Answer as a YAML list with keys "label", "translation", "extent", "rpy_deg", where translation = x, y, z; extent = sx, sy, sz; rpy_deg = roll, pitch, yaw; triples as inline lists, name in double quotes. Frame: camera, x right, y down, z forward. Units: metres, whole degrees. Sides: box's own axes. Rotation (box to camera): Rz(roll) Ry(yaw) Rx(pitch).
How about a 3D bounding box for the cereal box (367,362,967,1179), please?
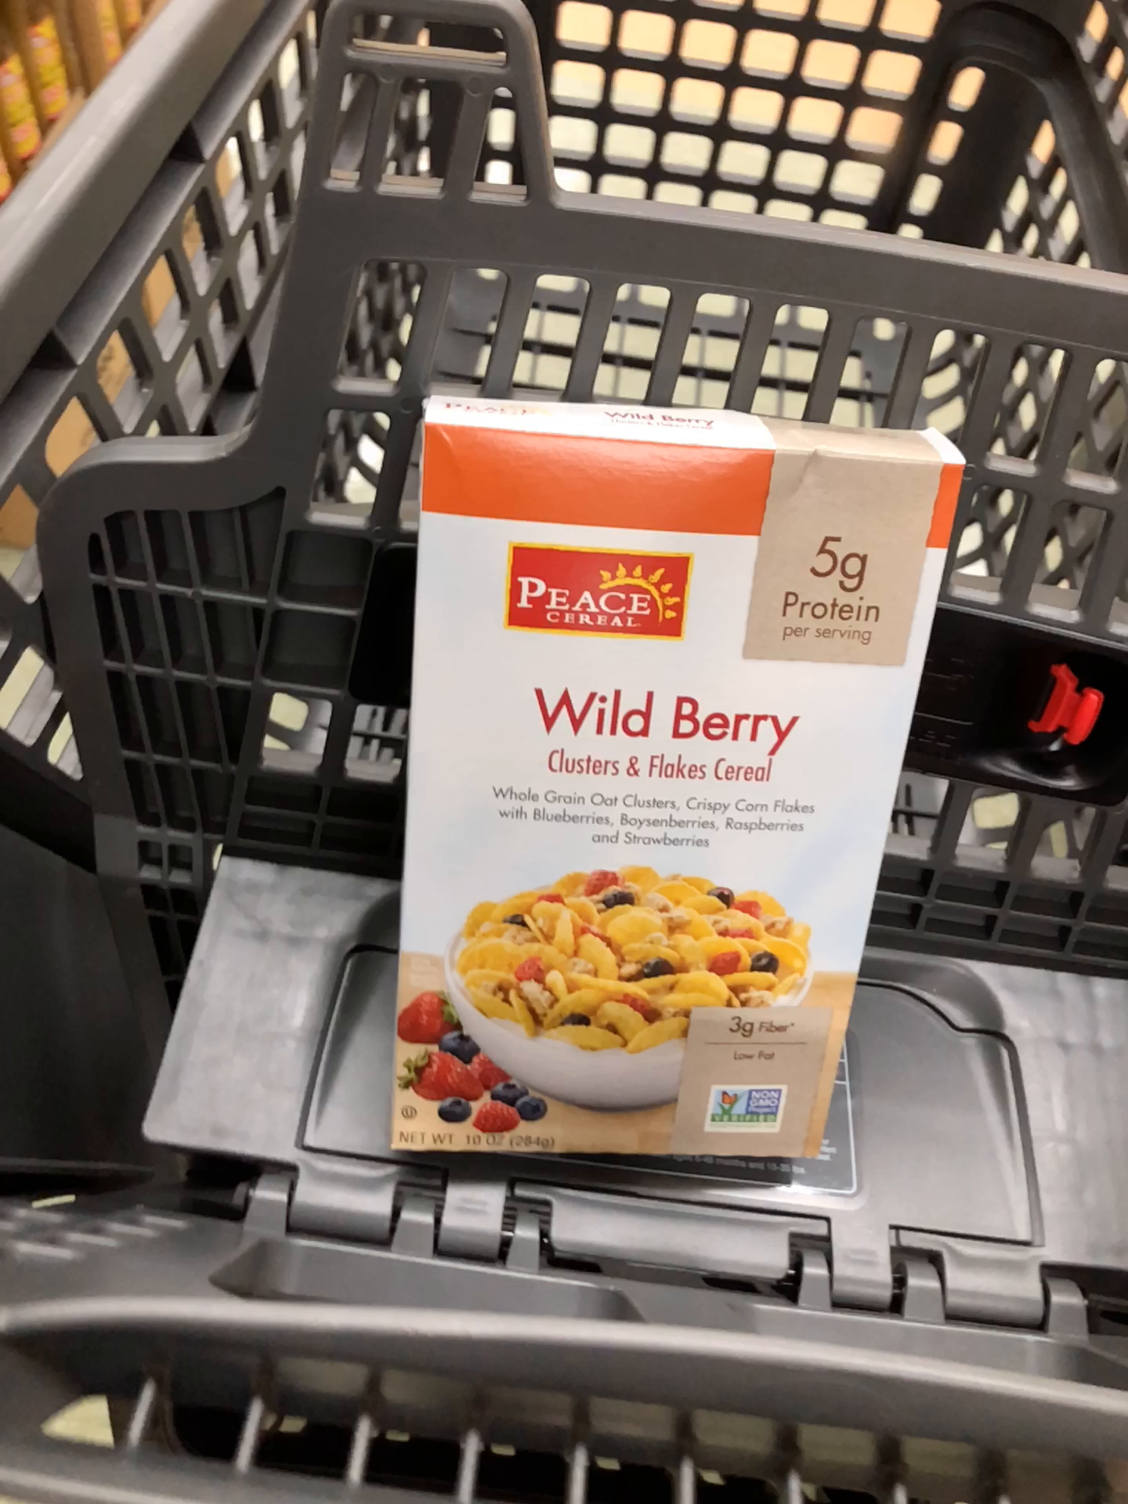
- label: "cereal box"
  translation: [0.020, 0.015, 0.412]
  extent: [0.160, 0.260, 0.060]
  rpy_deg: [2, 22, -5]
